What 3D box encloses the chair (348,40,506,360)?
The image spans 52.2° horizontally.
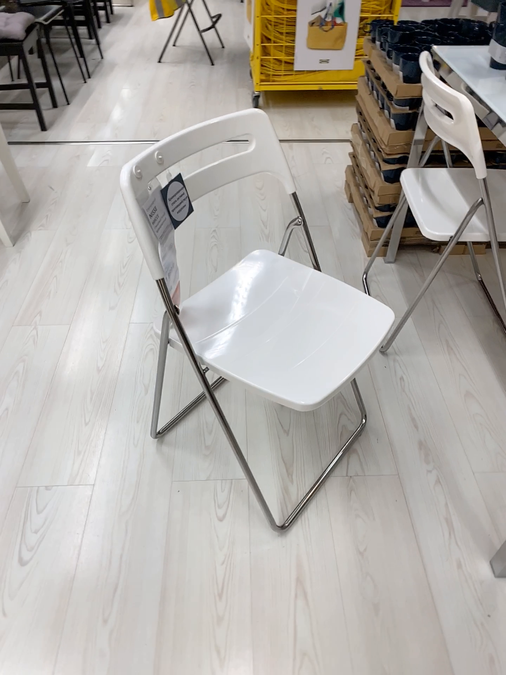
[{"bbox_3d":[0.620,-0.385,1.497,0.510,0.726,0.533,-1,42,-1],"label":"chair"}]

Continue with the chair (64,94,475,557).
[{"bbox_3d":[0.040,-0.038,1.127,0.501,0.716,0.512,28,49,27],"label":"chair"}]
